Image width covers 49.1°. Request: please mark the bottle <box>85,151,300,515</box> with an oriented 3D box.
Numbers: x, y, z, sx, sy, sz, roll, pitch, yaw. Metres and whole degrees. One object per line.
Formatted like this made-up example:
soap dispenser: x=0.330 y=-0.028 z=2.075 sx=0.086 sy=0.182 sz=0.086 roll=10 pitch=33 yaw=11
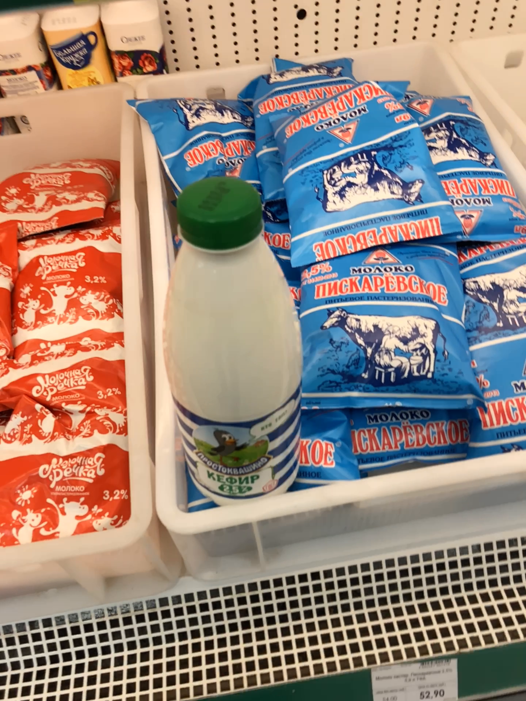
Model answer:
bottle: x=-0.022 y=0.008 z=0.339 sx=0.083 sy=0.224 sz=0.080 roll=-2 pitch=48 yaw=3
